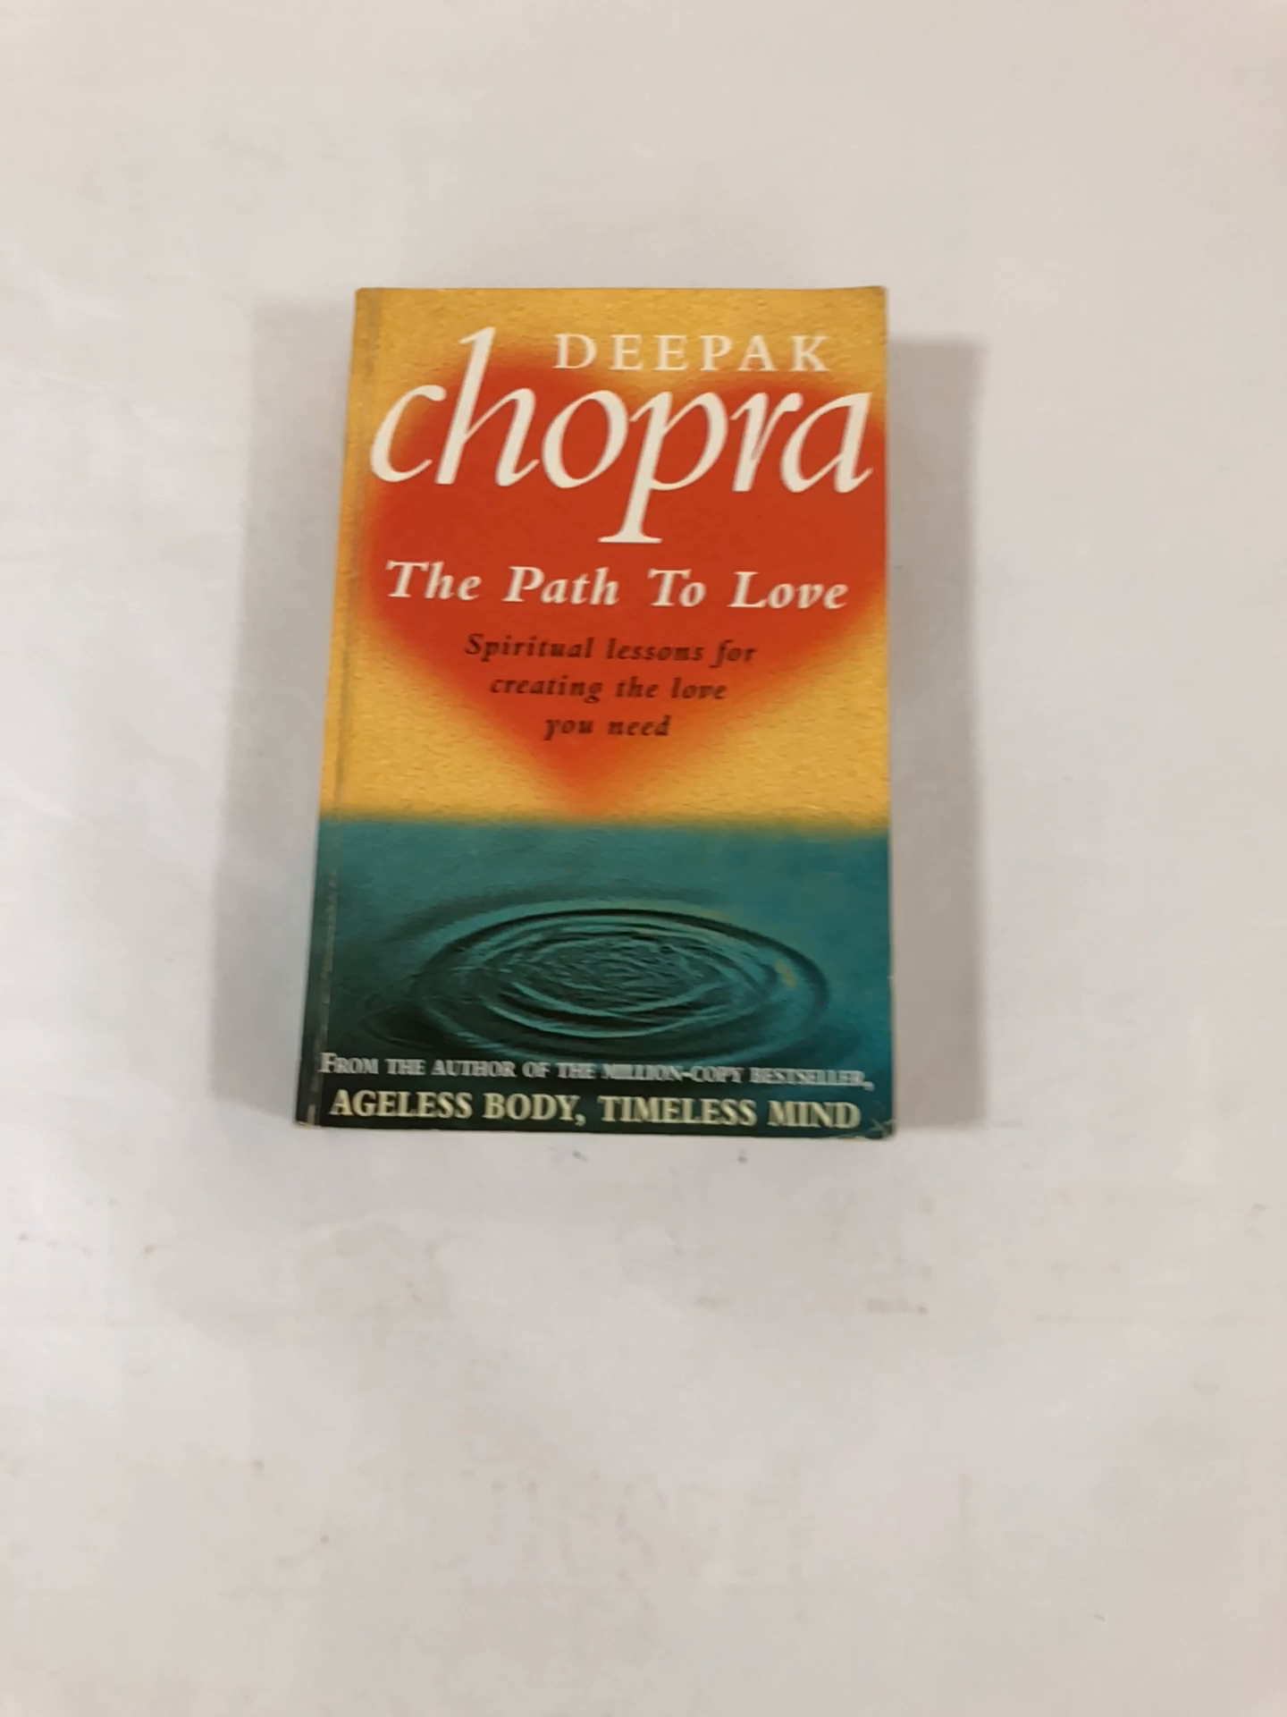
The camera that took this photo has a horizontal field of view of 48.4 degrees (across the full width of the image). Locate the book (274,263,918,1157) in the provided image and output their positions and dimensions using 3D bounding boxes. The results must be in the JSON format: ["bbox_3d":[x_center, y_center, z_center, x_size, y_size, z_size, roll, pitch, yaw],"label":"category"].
[{"bbox_3d":[-0.008,-0.035,0.332,0.130,0.040,0.200,2,77,-1],"label":"book"}]
